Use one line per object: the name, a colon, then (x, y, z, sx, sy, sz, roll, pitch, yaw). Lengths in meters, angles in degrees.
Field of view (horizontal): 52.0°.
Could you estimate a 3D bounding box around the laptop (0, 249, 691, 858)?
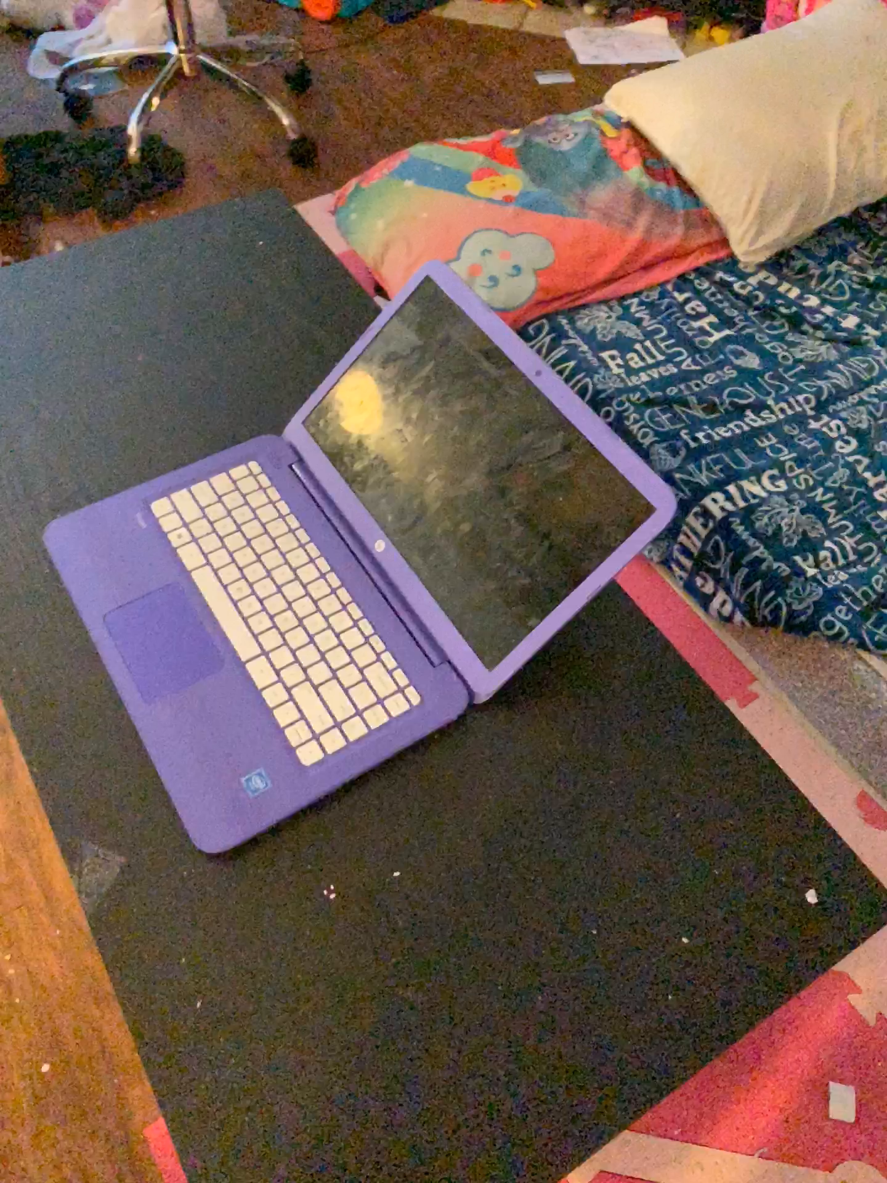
laptop: (-0.084, -0.060, 0.716, 0.397, 0.132, 0.340, -27, 61, -19)
